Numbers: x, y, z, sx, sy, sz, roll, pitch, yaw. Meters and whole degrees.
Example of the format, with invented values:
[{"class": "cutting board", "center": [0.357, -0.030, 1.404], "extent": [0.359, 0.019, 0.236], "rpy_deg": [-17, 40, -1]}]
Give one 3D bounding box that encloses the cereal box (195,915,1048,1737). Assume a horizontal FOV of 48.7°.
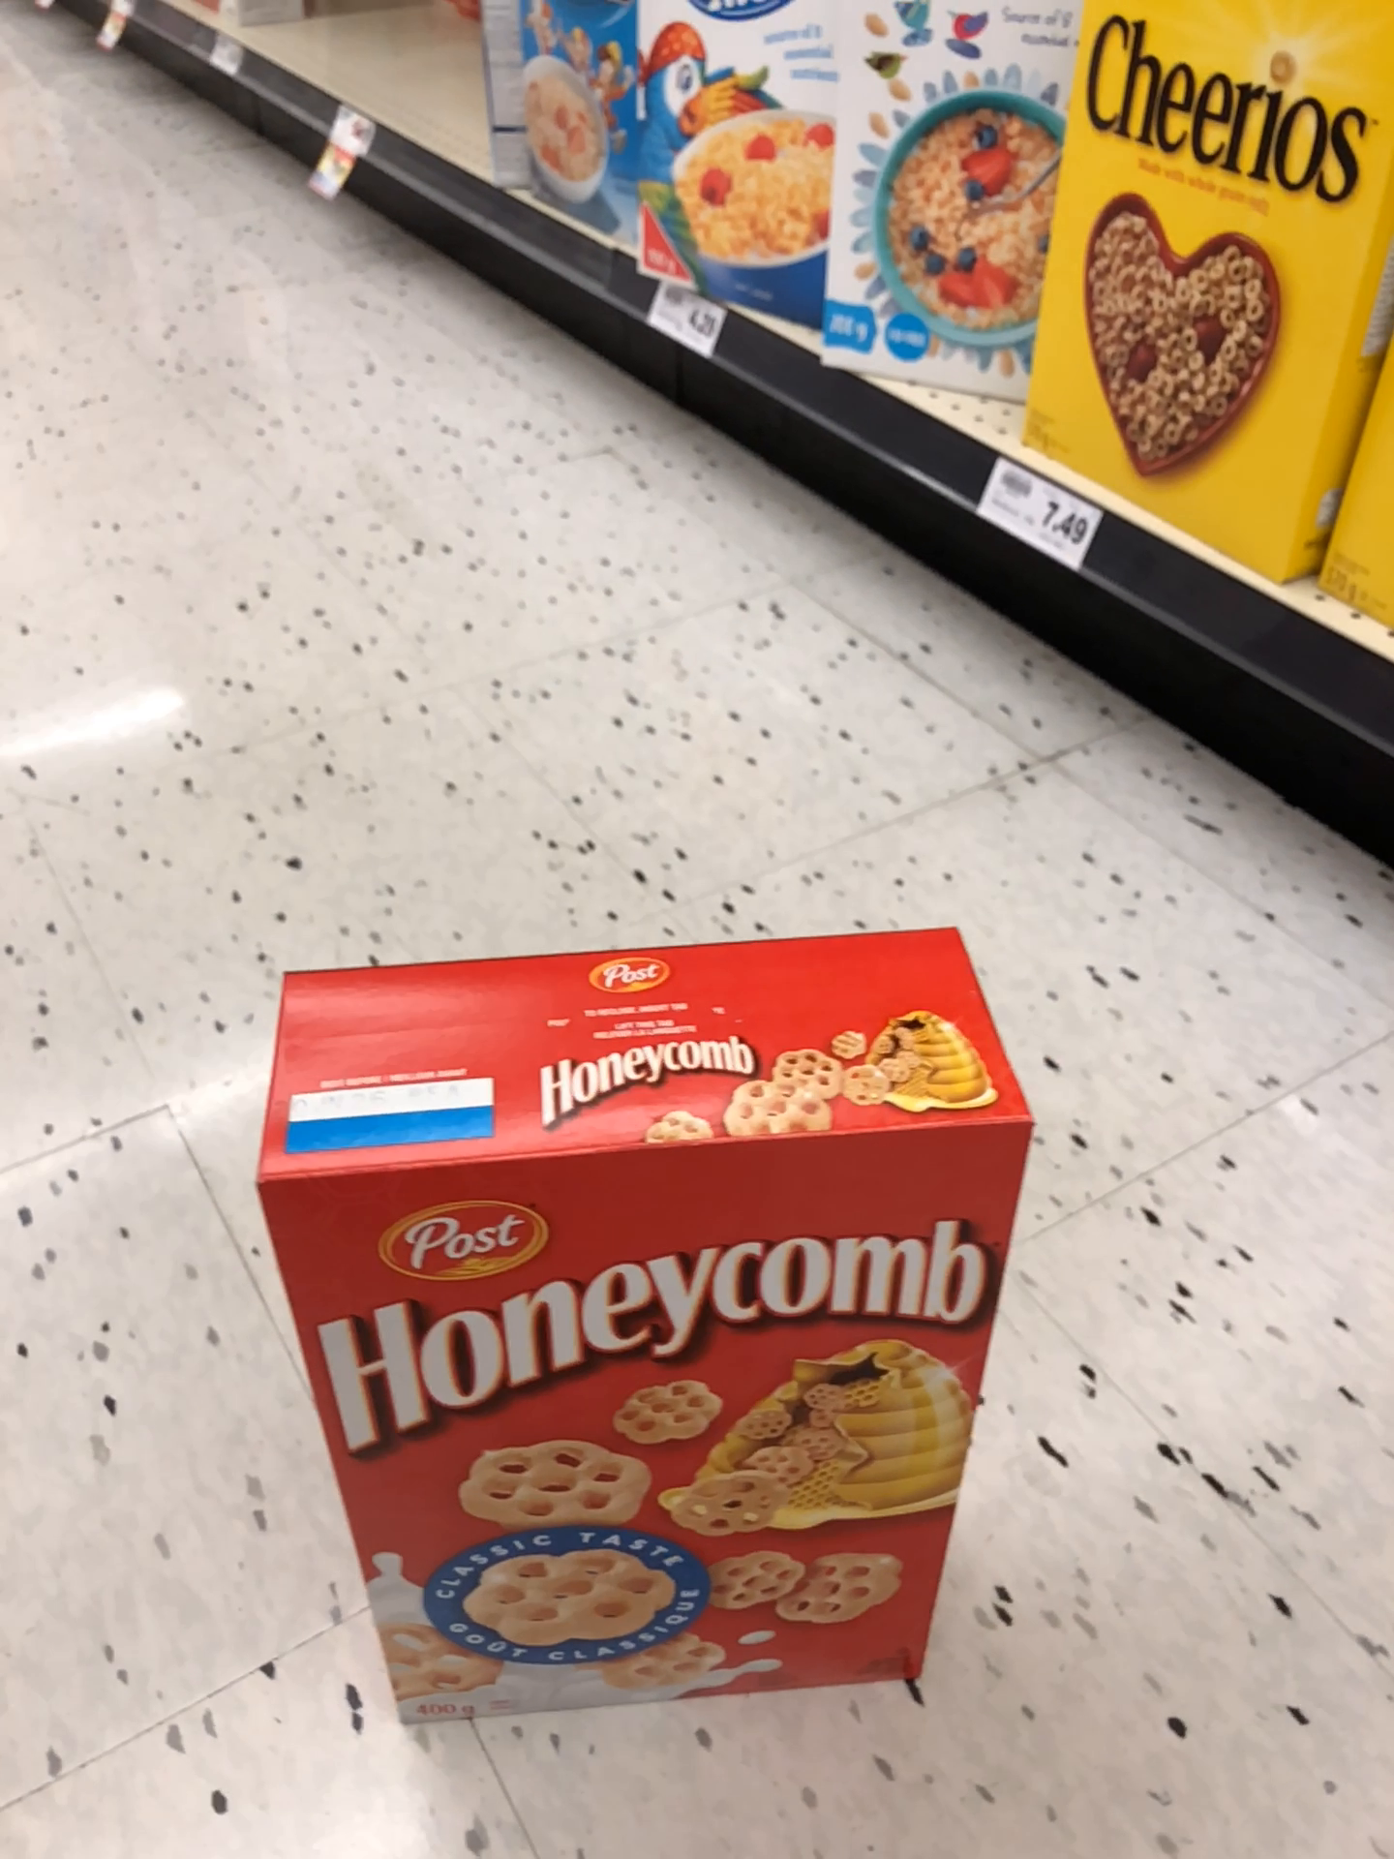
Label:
[{"class": "cereal box", "center": [-0.020, 0.141, 0.487], "extent": [0.200, 0.298, 0.080], "rpy_deg": [-3, 40, -4]}]
